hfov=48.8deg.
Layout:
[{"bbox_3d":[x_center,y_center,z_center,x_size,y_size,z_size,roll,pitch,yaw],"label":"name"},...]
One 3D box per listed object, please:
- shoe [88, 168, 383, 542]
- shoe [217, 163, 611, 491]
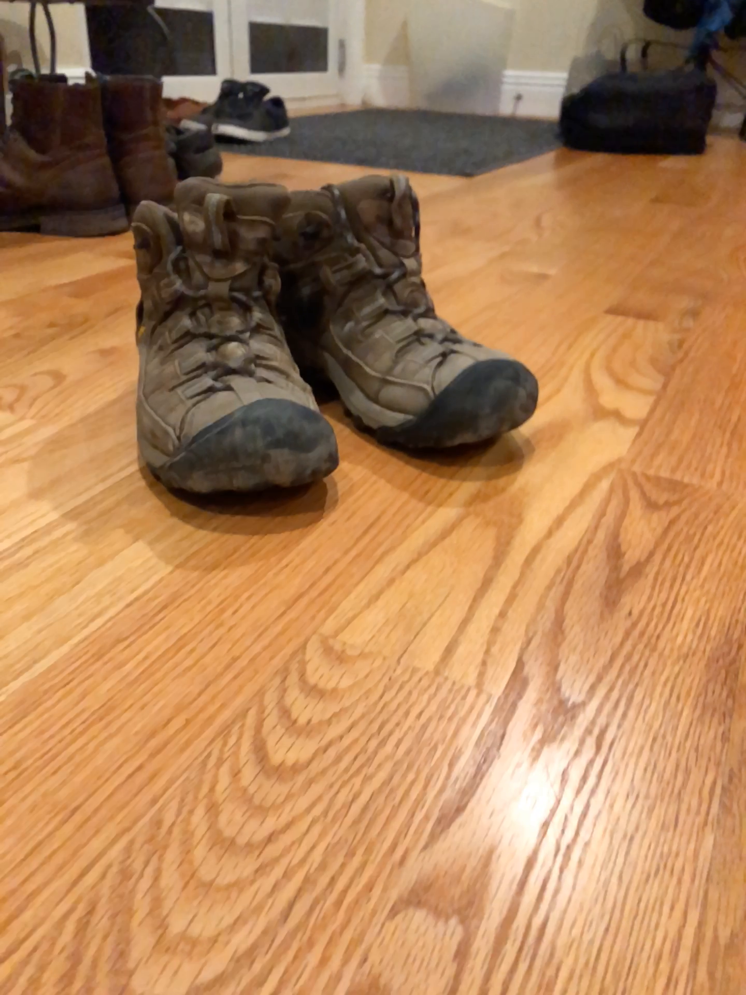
[{"bbox_3d":[-0.095,-0.106,0.492,0.107,0.139,0.261,-8,30,-20],"label":"shoe"},{"bbox_3d":[0.008,-0.131,0.546,0.108,0.139,0.260,-17,34,-32],"label":"shoe"}]
